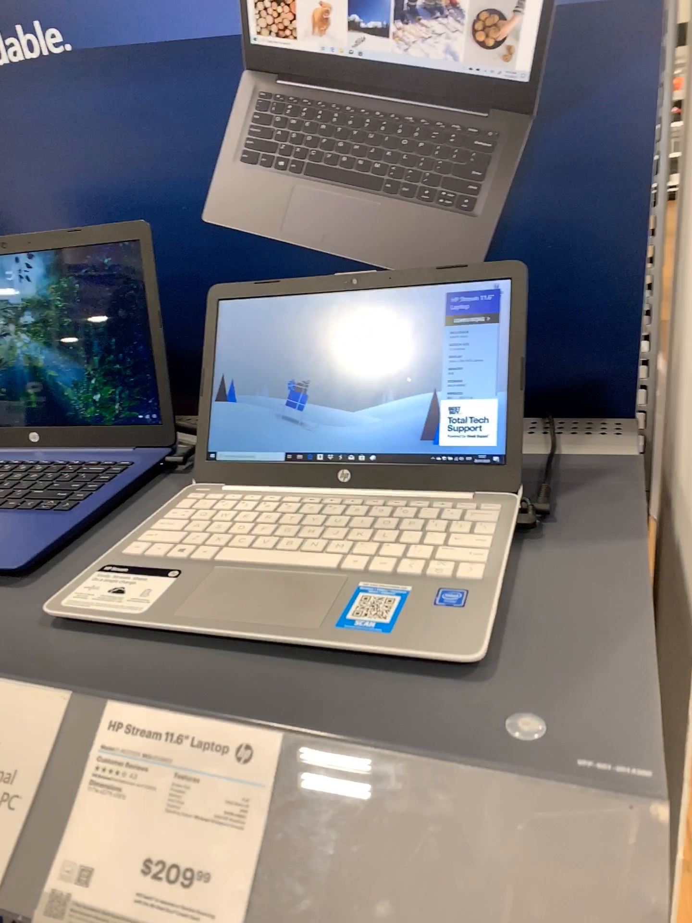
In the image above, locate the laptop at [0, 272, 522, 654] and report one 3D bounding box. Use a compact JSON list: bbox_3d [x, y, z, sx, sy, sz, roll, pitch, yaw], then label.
[{"bbox_3d":[-0.026,-0.028,0.494,0.266,0.144,0.275,2,25,18],"label":"laptop"}]
